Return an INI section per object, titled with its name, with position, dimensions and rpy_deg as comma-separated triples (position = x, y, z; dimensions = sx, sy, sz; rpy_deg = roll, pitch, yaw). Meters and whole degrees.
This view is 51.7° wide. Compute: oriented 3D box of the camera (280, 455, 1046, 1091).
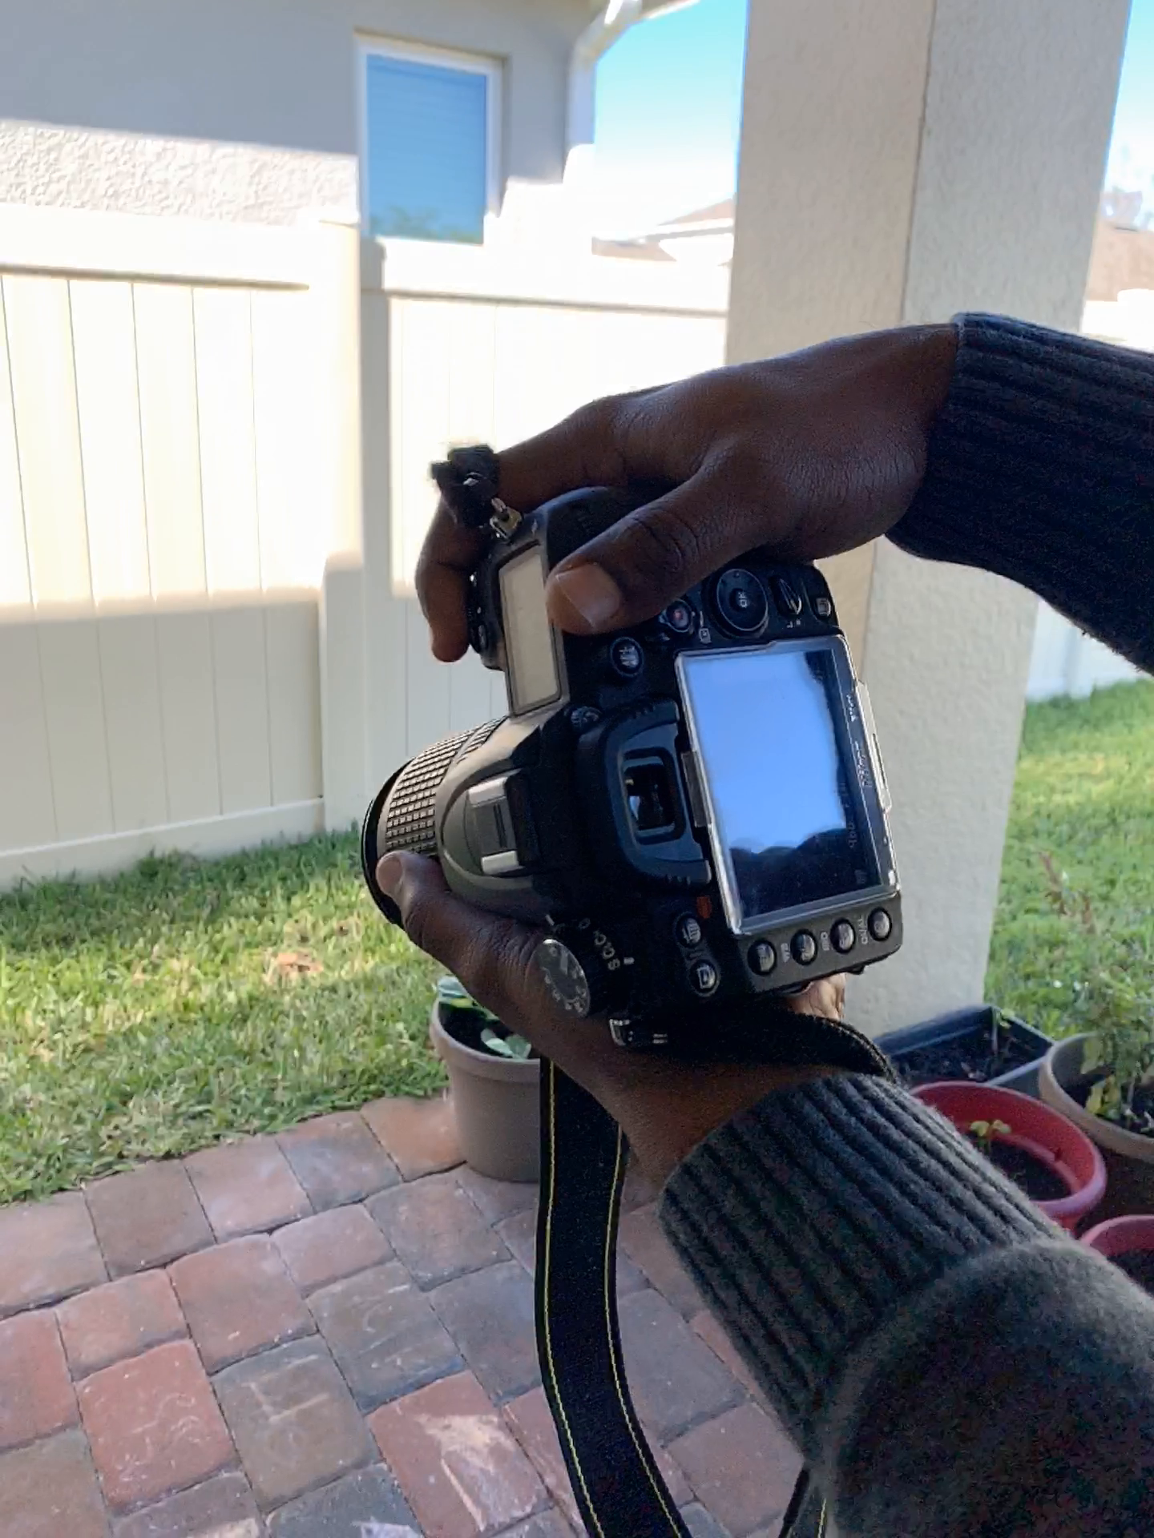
[camera]
position = 0.007, 0.001, 0.299
dimensions = 0.090, 0.110, 0.170
rpy_deg = -10, 0, -34
